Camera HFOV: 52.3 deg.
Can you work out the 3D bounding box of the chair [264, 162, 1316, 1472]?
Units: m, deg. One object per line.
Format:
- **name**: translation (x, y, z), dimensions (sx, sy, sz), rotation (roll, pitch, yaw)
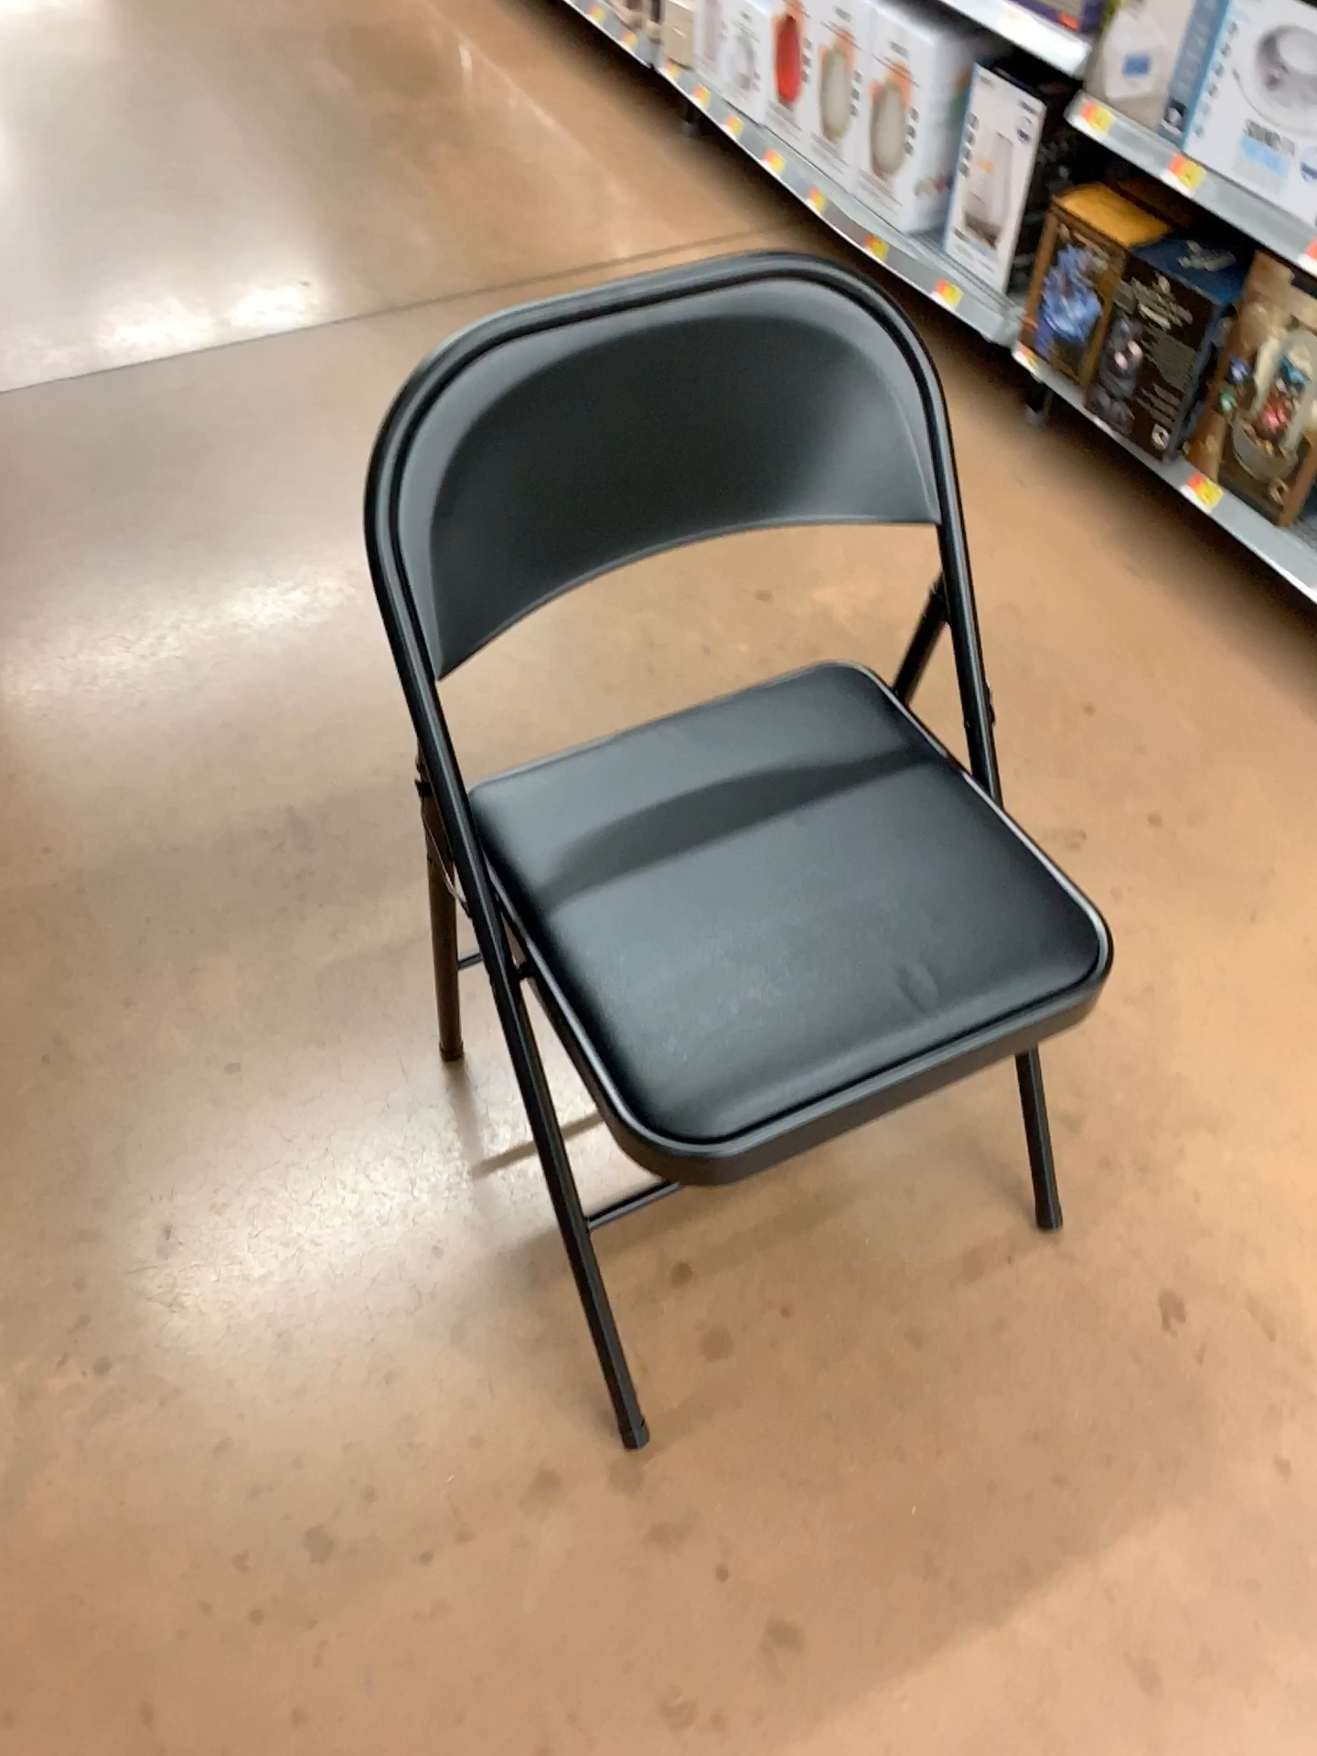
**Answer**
- **chair**: translation (0.088, -0.014, 0.959), dimensions (0.470, 0.697, 0.472), rotation (-21, 53, -18)
